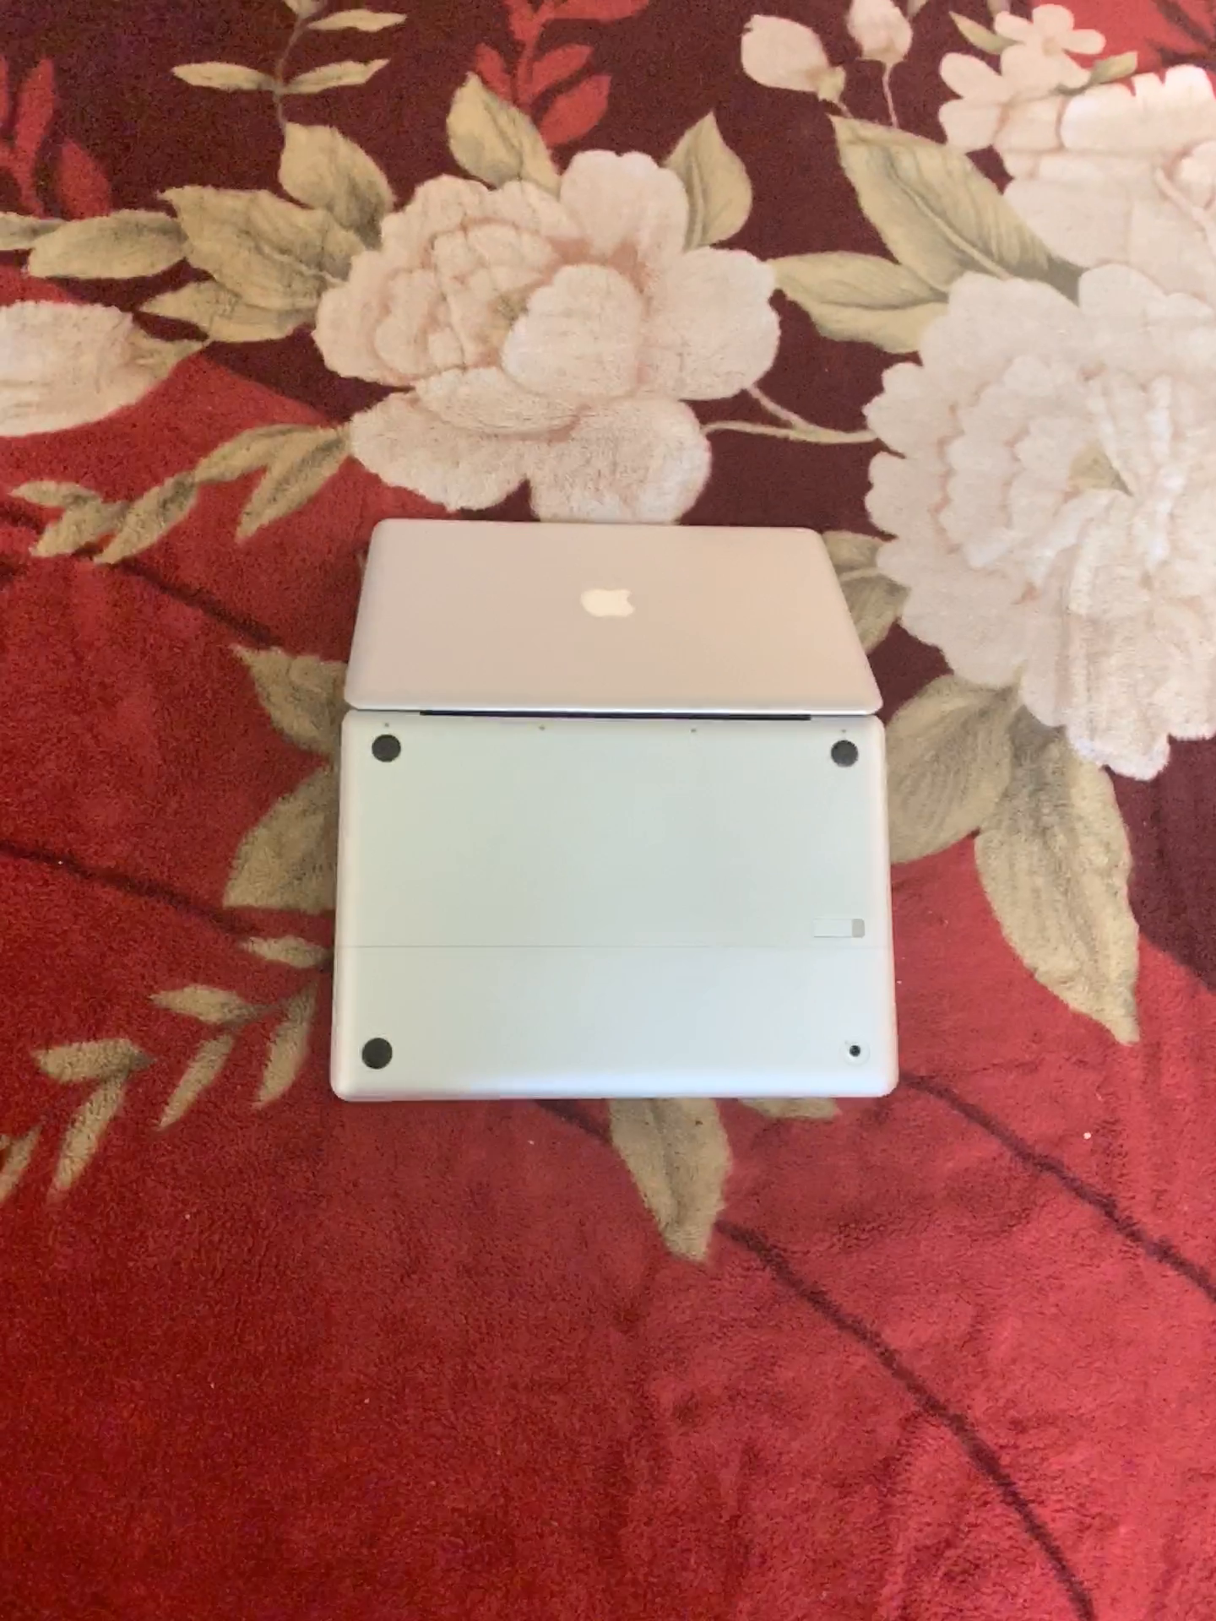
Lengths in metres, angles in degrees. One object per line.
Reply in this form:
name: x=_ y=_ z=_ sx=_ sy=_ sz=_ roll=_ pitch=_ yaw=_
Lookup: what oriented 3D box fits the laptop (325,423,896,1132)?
laptop: x=0.003 y=-0.016 z=0.752 sx=0.316 sy=0.078 sz=0.390 roll=1 pitch=80 yaw=-4
